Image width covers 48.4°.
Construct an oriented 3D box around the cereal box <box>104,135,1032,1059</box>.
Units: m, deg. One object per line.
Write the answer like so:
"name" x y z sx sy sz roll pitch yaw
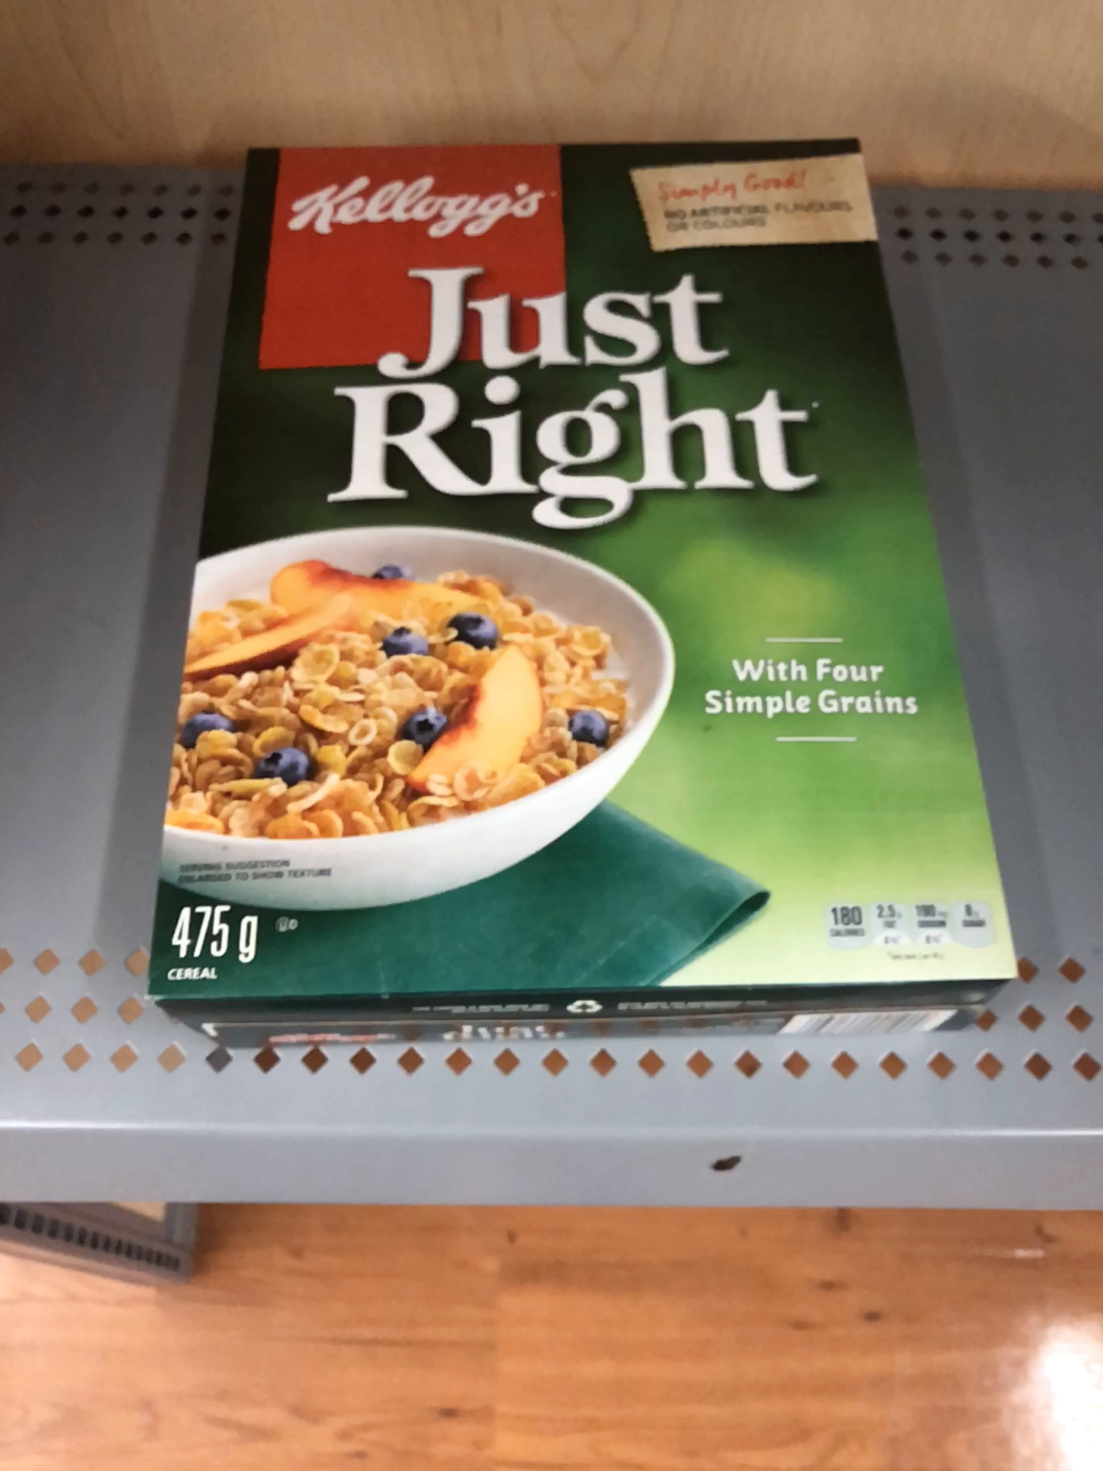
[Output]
"cereal box" 0.001 -0.053 0.352 0.200 0.060 0.271 -1 63 -1
